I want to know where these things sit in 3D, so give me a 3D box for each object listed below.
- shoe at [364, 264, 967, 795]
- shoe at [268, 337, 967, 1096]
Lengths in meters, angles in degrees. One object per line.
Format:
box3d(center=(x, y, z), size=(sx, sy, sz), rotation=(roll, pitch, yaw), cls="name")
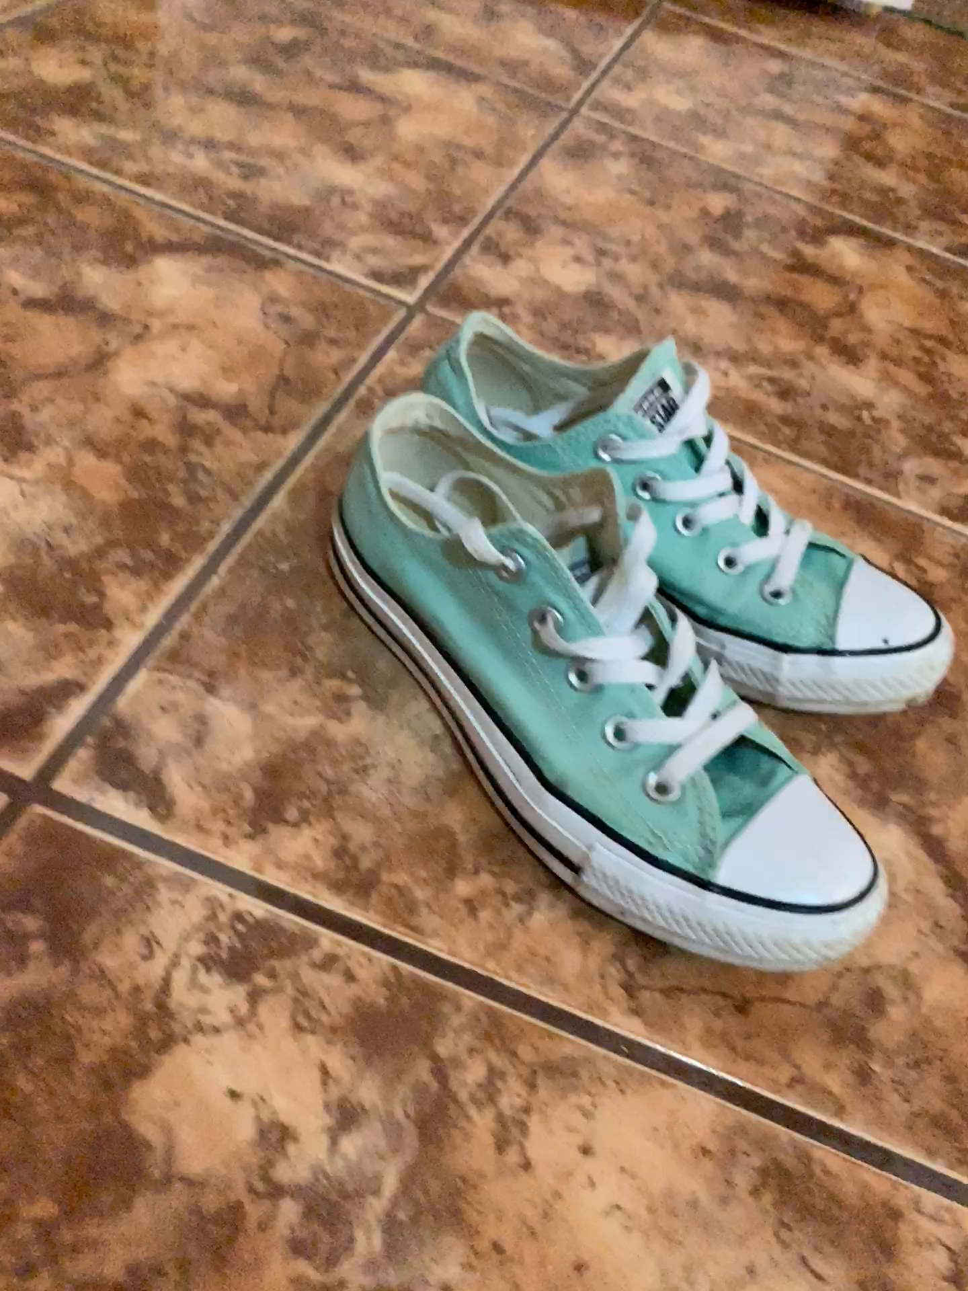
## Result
box3d(center=(0.084, -0.053, 0.412), size=(0.243, 0.084, 0.095), rotation=(28, 47, 9), cls="shoe")
box3d(center=(0.039, 0.009, 0.346), size=(0.098, 0.094, 0.244), rotation=(-29, 62, -35), cls="shoe")
